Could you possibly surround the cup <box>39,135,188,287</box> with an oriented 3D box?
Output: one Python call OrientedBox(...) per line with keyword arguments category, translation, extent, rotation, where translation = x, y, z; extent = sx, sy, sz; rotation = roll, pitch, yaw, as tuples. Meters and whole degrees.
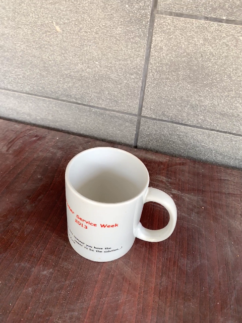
OrientedBox(category="cup", translation=(-0.002, 0.048, 0.262), extent=(0.120, 0.100, 0.090), rotation=(11, 39, 7))
